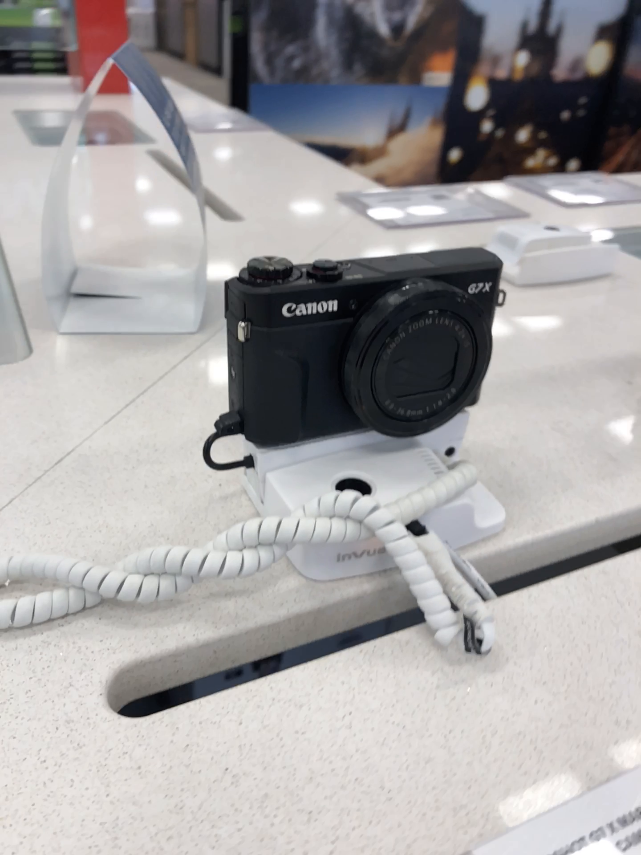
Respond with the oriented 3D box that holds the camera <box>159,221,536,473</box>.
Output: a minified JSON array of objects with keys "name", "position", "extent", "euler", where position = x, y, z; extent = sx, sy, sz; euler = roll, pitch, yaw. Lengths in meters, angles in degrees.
[{"name":"camera","position":[0.009,-0.034,0.262],"extent":[0.120,0.060,0.050],"euler":[-12,35,-24]}]
